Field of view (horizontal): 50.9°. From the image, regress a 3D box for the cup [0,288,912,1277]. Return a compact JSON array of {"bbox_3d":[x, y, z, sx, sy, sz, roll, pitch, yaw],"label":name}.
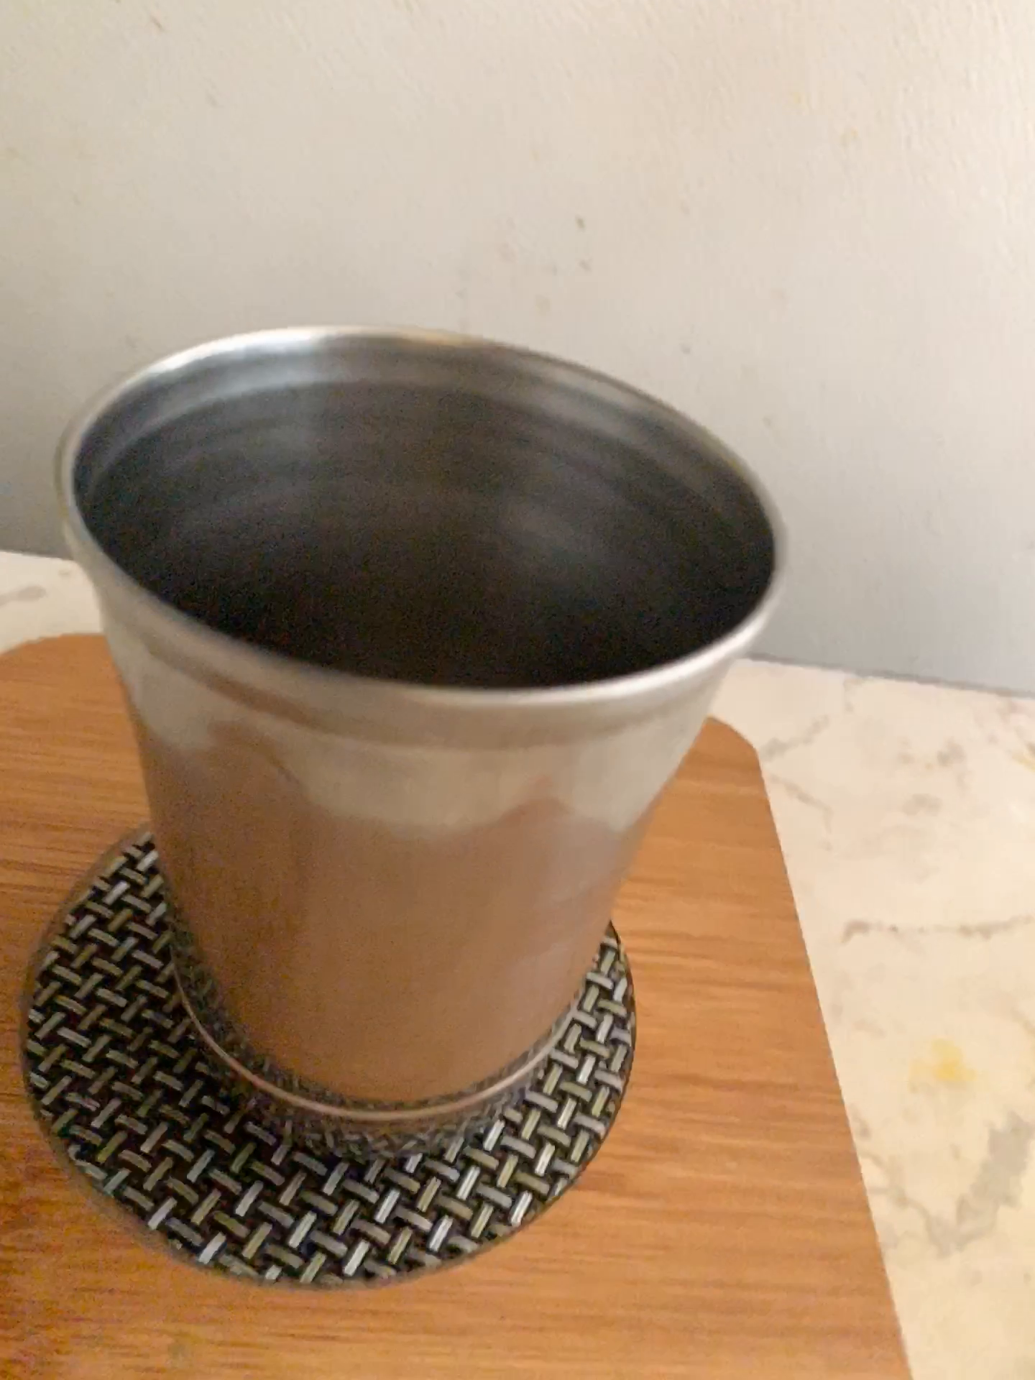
[{"bbox_3d":[-0.011,0.013,0.135,0.072,0.091,0.071,6,39,-5],"label":"cup"}]
